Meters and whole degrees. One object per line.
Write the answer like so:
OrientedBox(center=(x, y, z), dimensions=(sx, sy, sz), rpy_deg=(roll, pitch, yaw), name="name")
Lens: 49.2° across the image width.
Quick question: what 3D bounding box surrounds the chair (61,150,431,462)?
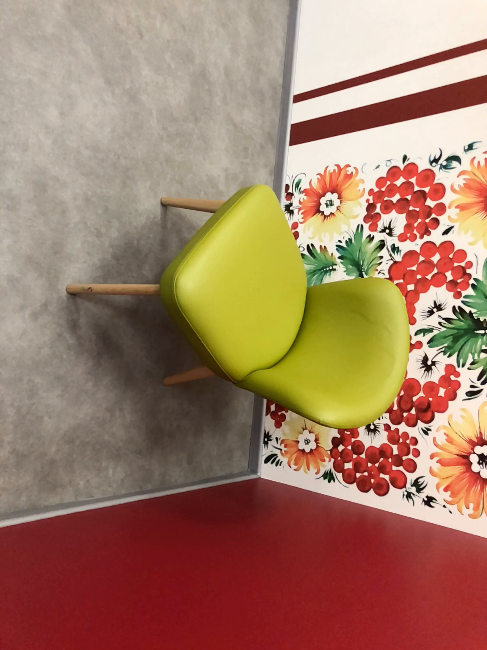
OrientedBox(center=(0.027, -0.059, 1.563), dimensions=(0.522, 0.776, 0.571), rpy_deg=(-53, 129, -35), name="chair")
